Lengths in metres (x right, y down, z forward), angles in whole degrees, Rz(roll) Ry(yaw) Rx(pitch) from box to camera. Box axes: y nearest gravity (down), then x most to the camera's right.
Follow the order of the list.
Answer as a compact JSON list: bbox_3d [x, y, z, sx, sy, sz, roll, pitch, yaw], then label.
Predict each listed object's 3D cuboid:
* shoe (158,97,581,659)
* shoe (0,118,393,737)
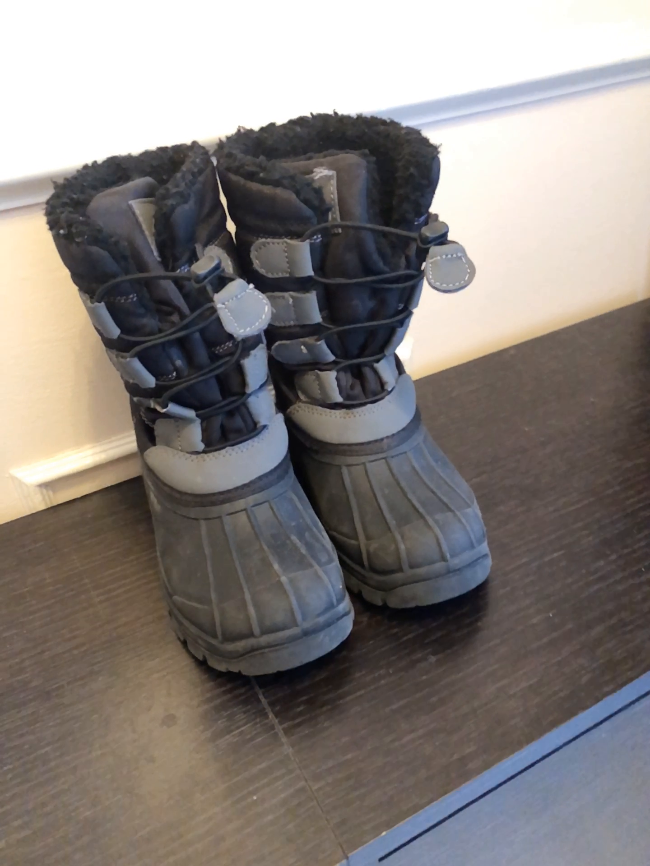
[{"bbox_3d":[0.008,-0.047,0.384,0.100,0.209,0.221,-18,36,-19],"label":"shoe"},{"bbox_3d":[-0.068,-0.022,0.356,0.100,0.209,0.221,-18,36,-19],"label":"shoe"}]
